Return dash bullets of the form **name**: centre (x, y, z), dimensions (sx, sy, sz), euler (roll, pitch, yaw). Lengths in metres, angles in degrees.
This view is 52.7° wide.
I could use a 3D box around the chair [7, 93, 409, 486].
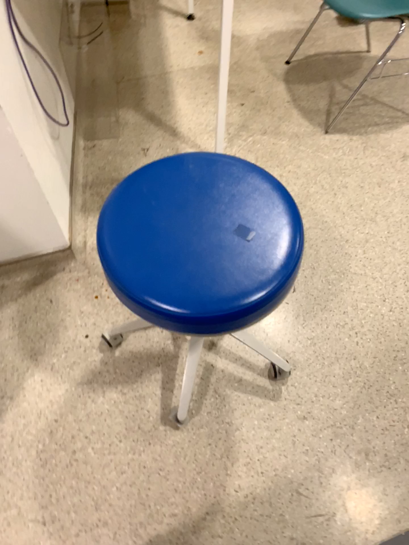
- **chair**: centre (-0.009, 0.074, 1.047), dimensions (0.571, 0.636, 0.583), euler (-26, 62, -15)
